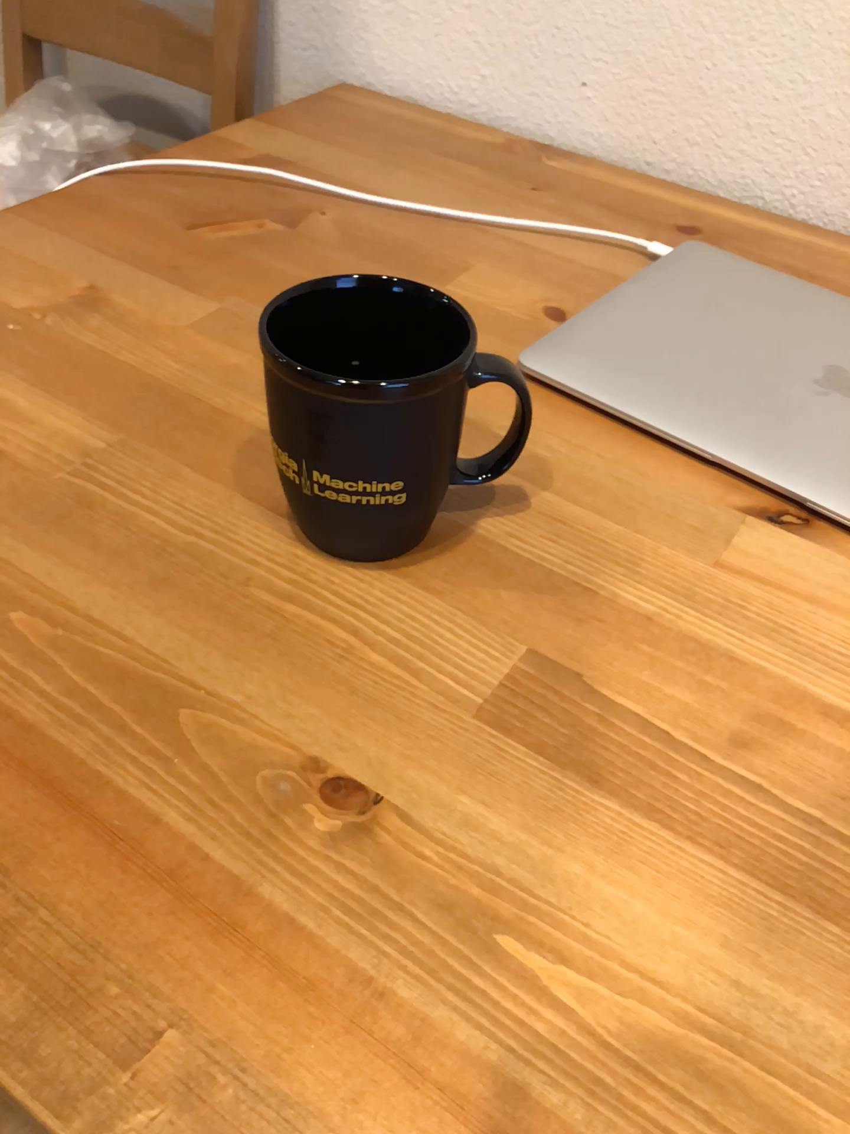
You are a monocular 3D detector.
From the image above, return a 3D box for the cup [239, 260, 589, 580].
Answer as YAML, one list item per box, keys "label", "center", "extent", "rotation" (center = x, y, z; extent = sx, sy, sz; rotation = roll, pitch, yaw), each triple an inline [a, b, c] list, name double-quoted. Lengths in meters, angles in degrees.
- label: "cup"
  center: [-0.011, -0.065, 0.404]
  extent: [0.120, 0.090, 0.090]
  rotation: [-7, 44, -13]
